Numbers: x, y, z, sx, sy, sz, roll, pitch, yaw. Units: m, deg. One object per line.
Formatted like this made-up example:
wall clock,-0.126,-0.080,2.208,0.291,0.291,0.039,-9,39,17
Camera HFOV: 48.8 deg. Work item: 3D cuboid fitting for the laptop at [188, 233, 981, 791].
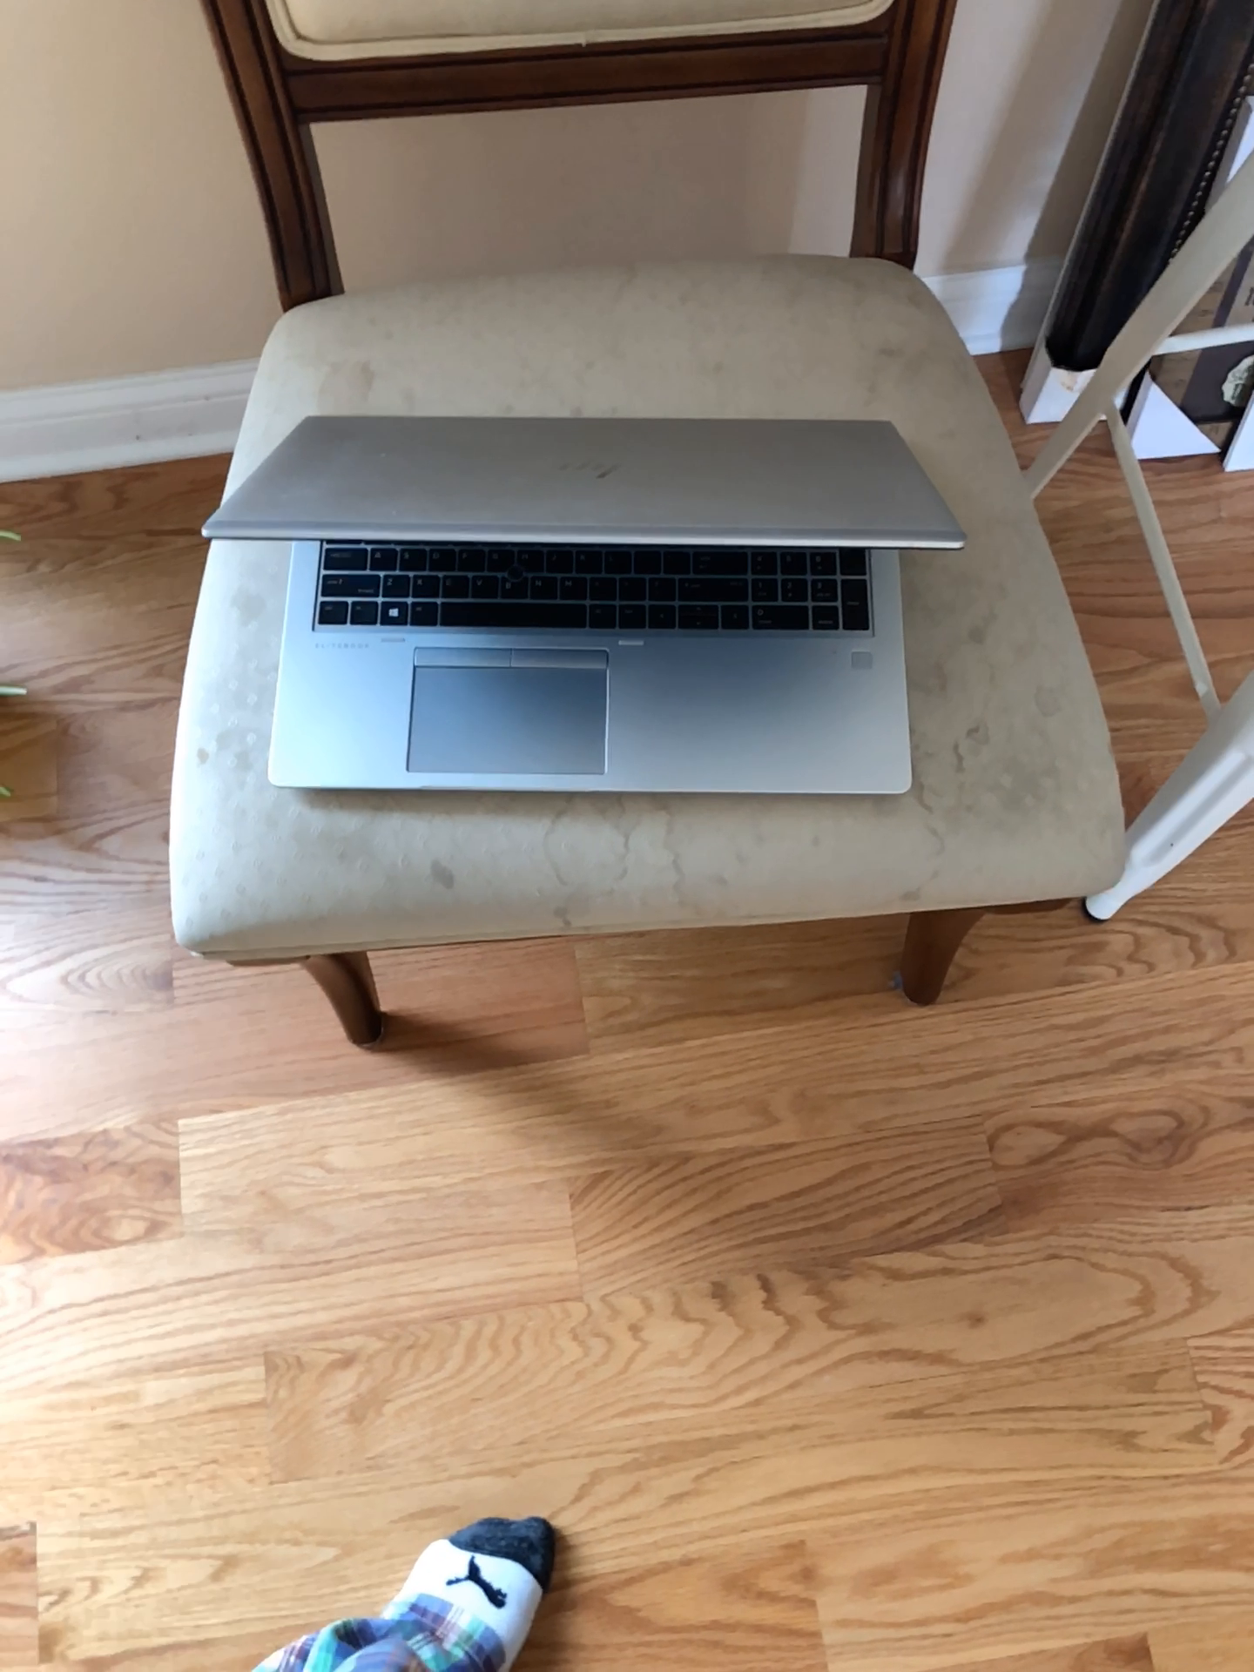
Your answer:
laptop,-0.019,-0.170,0.751,0.365,0.159,0.244,1,71,1
